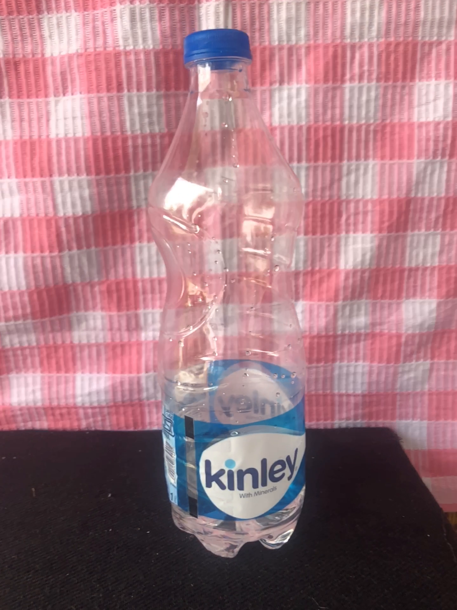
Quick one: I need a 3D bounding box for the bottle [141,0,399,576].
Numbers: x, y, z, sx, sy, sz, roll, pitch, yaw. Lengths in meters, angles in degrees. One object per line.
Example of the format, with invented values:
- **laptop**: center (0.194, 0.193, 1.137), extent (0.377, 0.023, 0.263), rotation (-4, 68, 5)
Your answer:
- **bottle**: center (0.011, -0.005, 0.266), extent (0.090, 0.259, 0.080), rotation (-5, 18, -19)
